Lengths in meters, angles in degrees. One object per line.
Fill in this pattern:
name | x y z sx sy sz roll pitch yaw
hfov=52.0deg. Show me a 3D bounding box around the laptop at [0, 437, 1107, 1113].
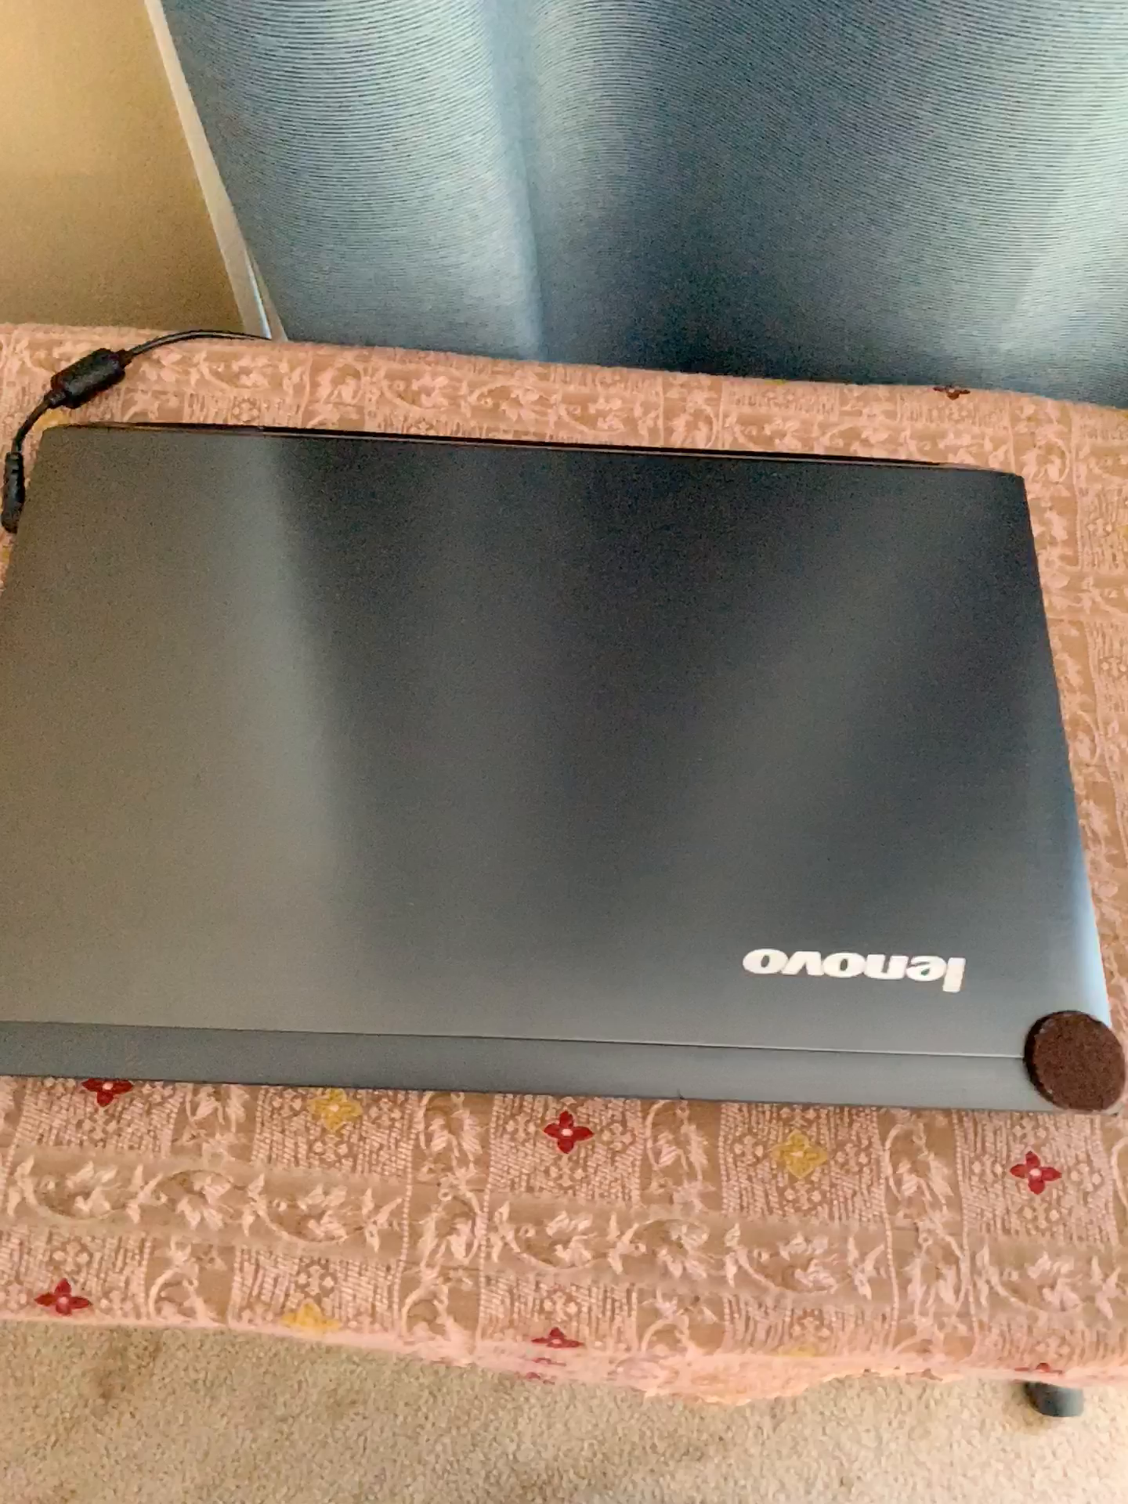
laptop | -0.015 -0.004 0.383 0.356 0.011 0.223 2 68 0
